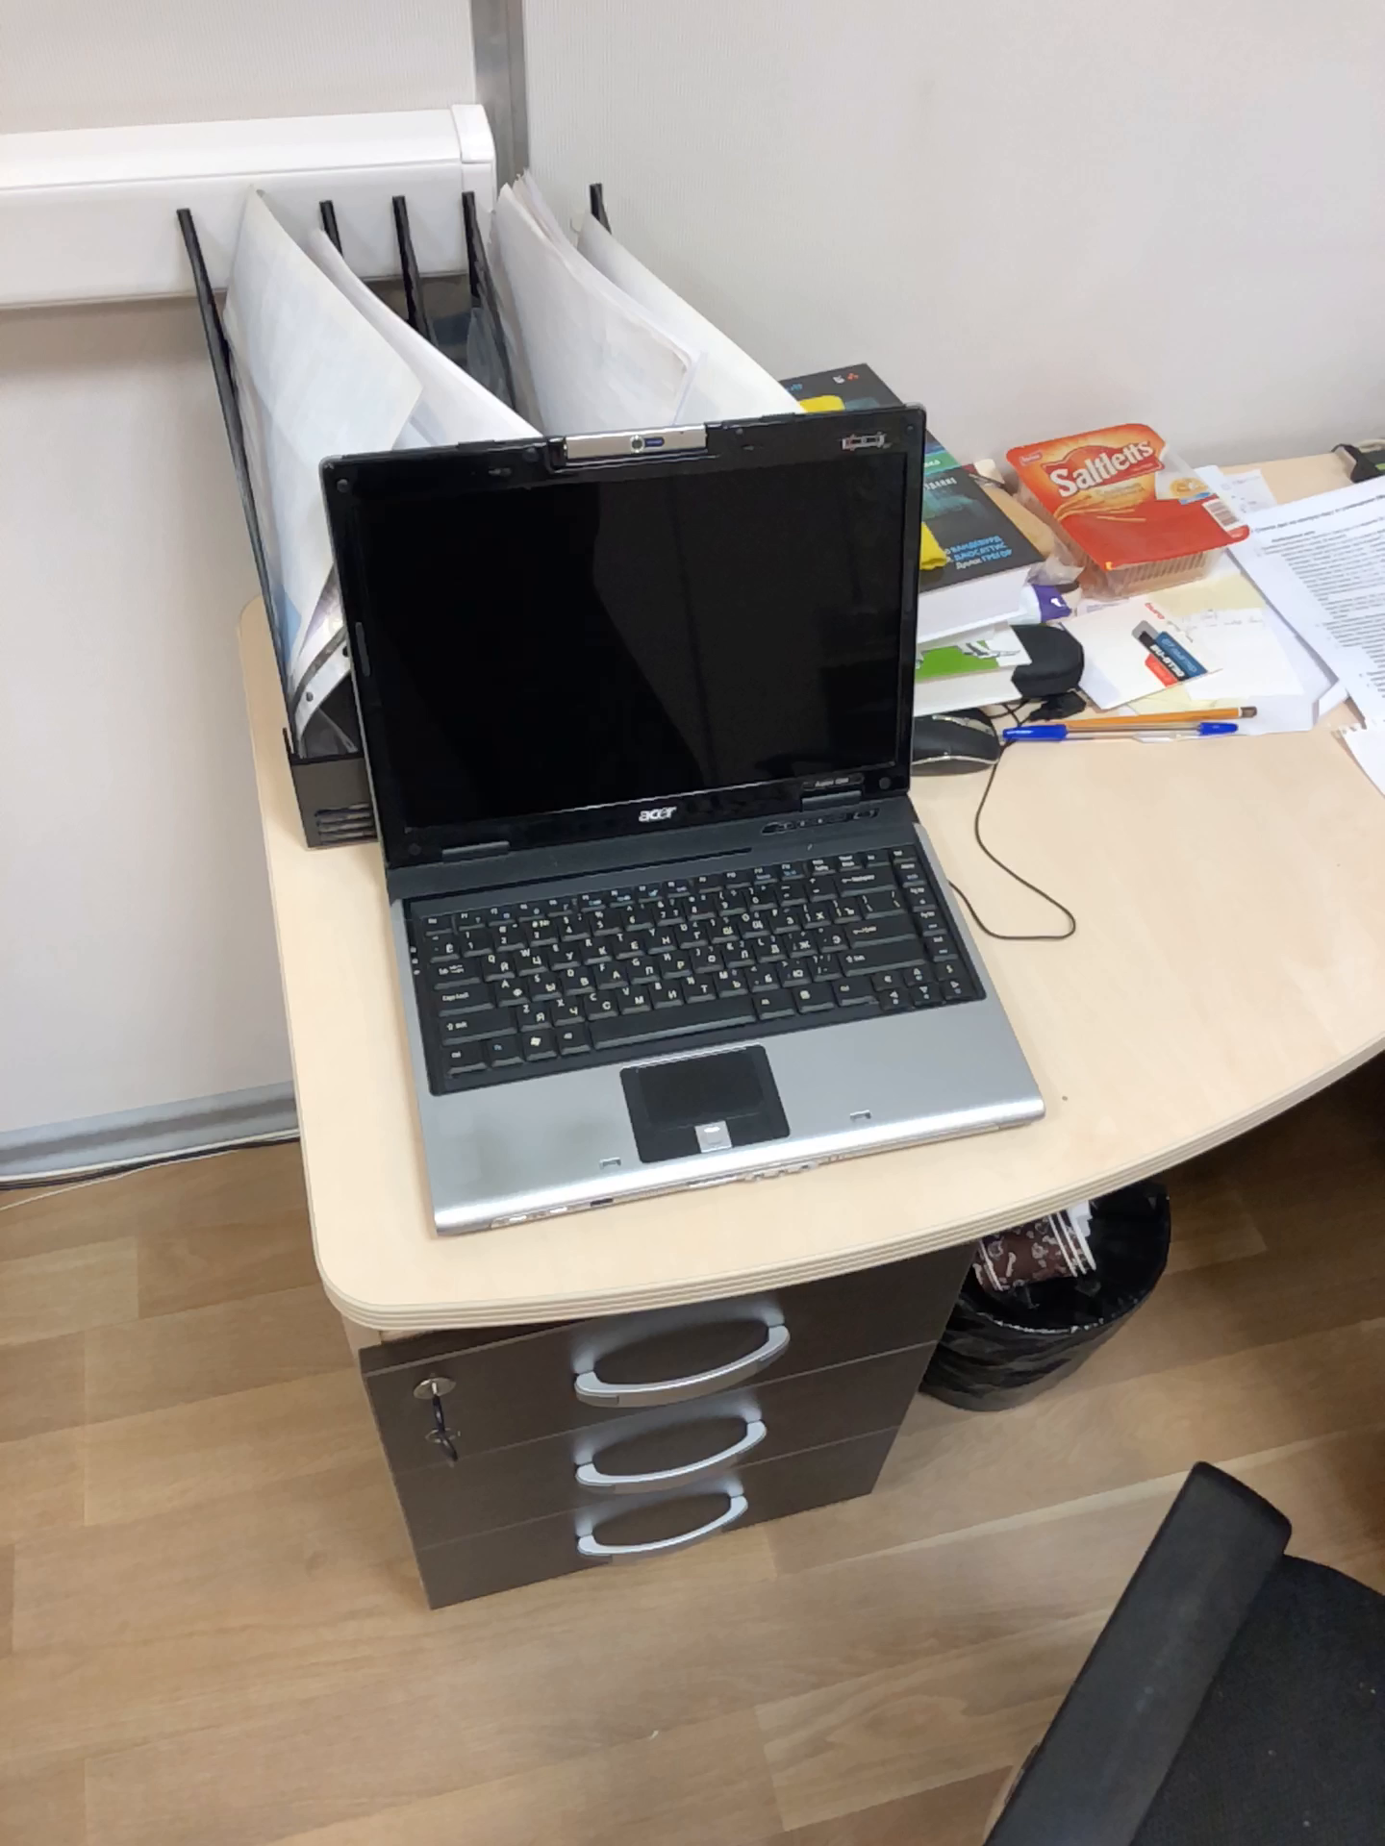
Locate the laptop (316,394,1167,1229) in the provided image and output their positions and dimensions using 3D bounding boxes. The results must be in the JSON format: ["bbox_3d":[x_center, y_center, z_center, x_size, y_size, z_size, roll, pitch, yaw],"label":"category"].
[{"bbox_3d":[0.000,-0.069,0.791,0.326,0.219,0.324,-9,53,-10],"label":"laptop"}]
